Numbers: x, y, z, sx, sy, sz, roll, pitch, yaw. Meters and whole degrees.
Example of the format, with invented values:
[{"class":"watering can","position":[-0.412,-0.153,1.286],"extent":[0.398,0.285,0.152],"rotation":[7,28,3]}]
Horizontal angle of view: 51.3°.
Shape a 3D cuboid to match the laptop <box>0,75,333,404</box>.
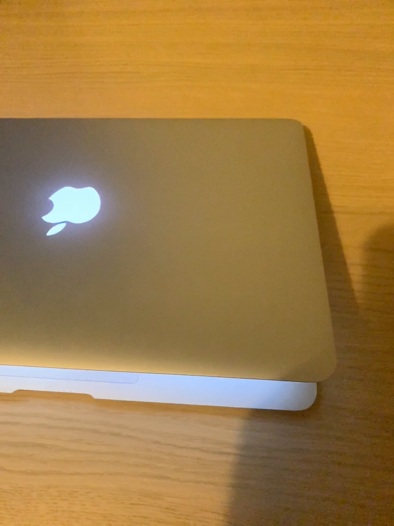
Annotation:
[{"class":"laptop","position":[-0.084,-0.031,0.281],"extent":[0.320,0.048,0.218],"rotation":[2,62,6]}]
